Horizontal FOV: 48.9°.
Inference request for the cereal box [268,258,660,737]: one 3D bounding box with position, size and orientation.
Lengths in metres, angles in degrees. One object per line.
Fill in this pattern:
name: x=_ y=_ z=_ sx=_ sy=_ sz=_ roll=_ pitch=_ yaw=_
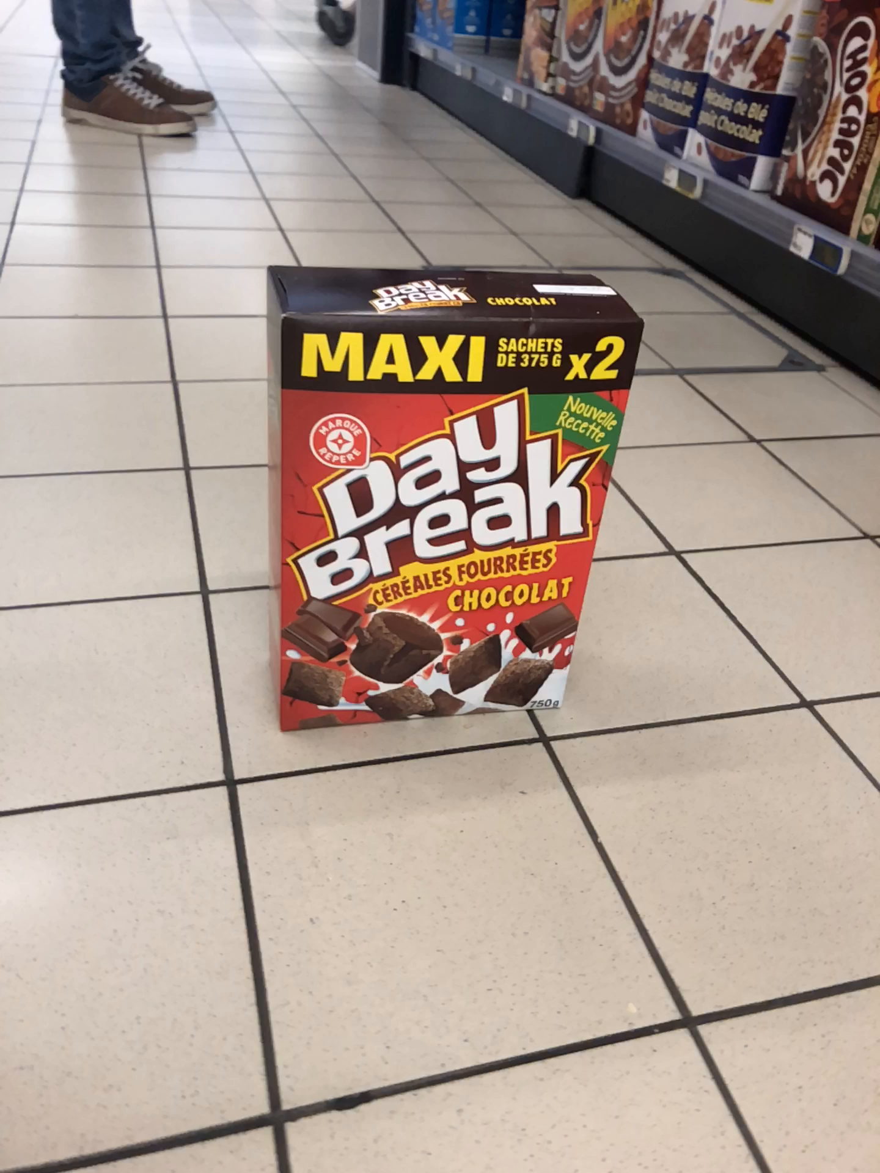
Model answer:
cereal box: x=-0.001 y=-0.048 z=0.605 sx=0.200 sy=0.278 sz=0.090 roll=-3 pitch=34 yaw=-12
